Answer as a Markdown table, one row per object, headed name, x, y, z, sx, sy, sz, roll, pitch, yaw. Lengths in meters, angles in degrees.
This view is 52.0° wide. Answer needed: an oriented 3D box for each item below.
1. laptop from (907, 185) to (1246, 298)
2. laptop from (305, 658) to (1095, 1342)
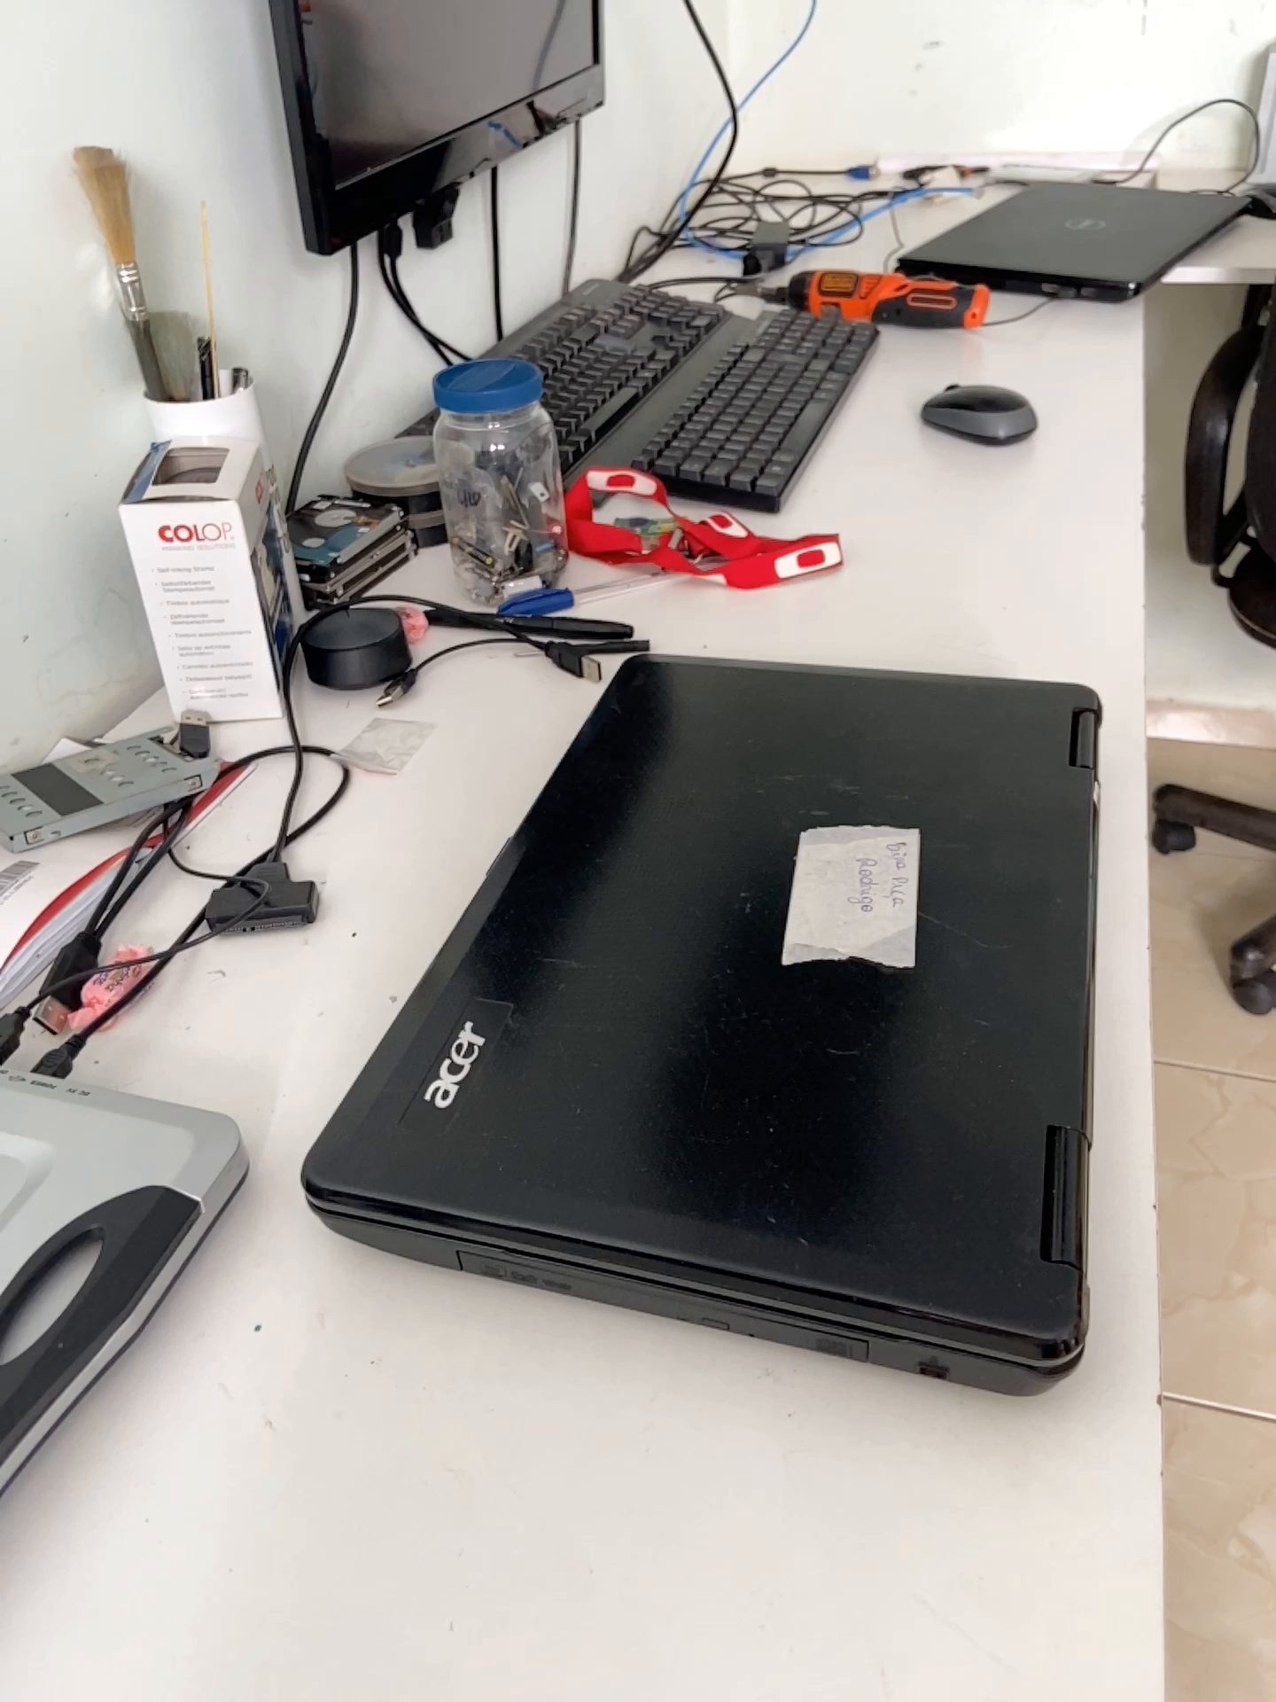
| name | x | y | z | sx | sy | sz | roll | pitch | yaw |
| --- | --- | --- | --- | --- | --- | --- | --- | --- | --- |
| laptop | 0.492 | -0.685 | 1.458 | 0.243 | 0.011 | 0.313 | 23 | 48 | 29 |
| laptop | 0.056 | 0.017 | 0.534 | 0.238 | 0.005 | 0.358 | 7 | 38 | 16 |
